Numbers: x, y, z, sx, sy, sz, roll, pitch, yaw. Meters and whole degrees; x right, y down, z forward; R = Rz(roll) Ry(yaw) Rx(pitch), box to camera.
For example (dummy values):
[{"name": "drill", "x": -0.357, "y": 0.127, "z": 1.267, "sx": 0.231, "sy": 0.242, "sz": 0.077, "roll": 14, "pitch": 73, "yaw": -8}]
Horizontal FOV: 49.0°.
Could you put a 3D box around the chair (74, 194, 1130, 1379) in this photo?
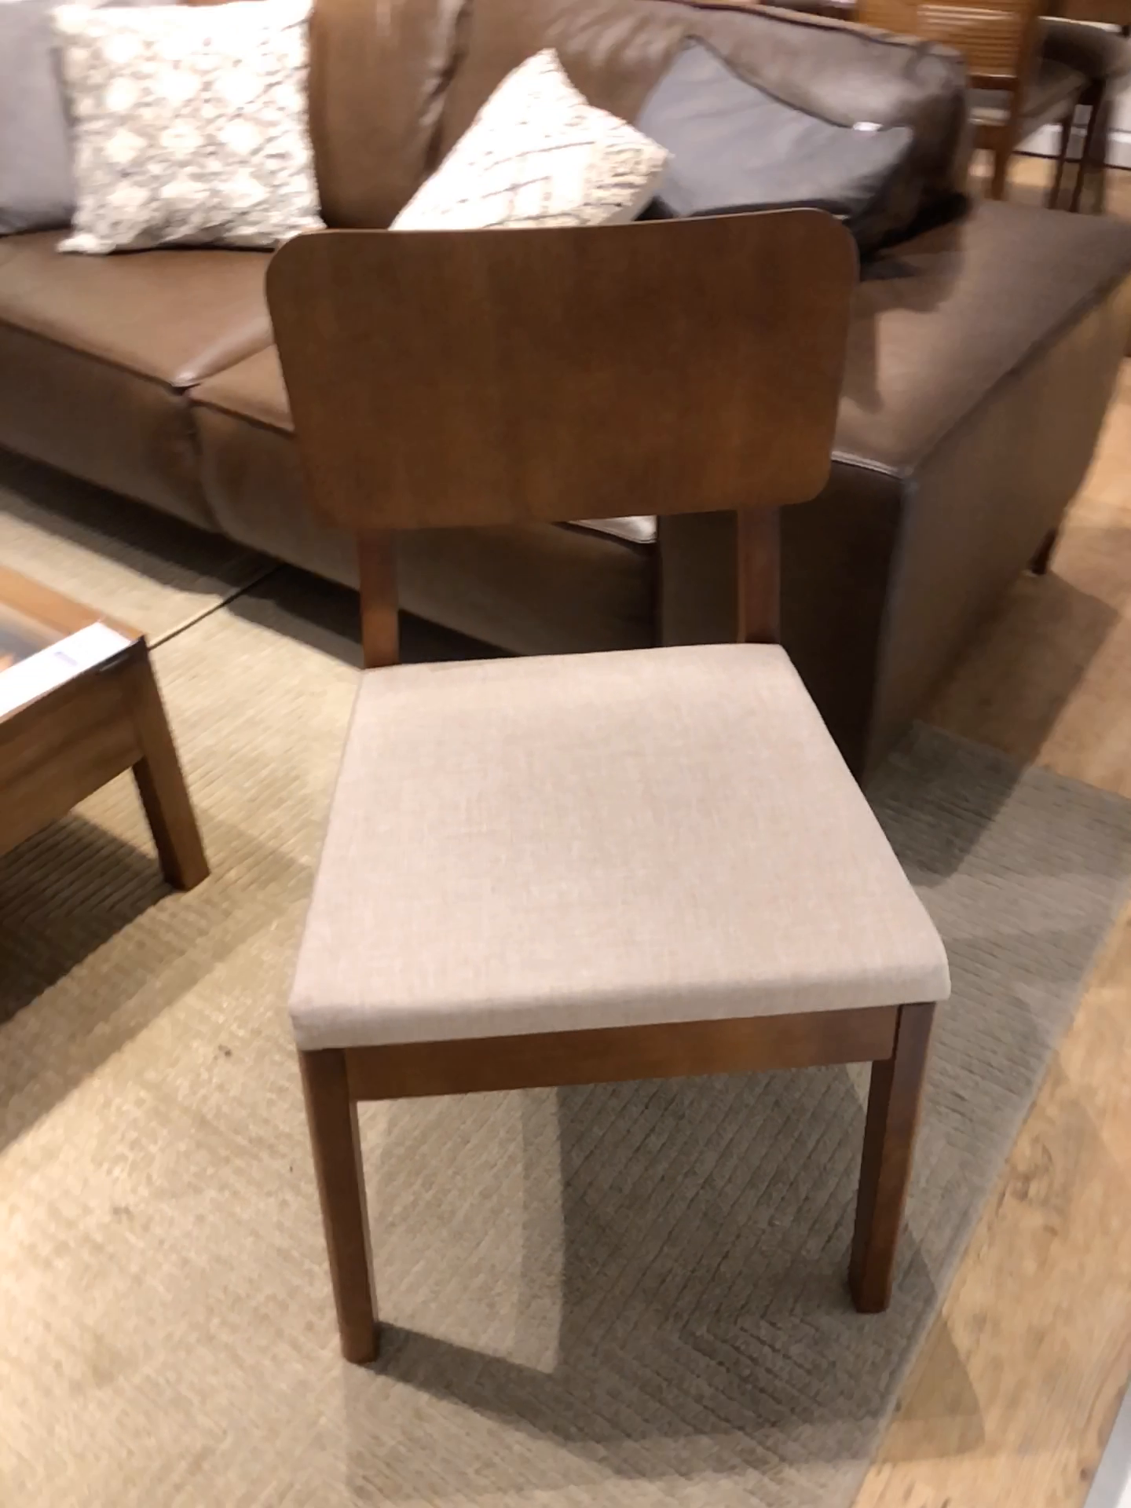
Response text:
[{"name": "chair", "x": 0.018, "y": 0.044, "z": 1.031, "sx": 0.510, "sy": 0.794, "sz": 0.534, "roll": -4, "pitch": 40, "yaw": -3}]
